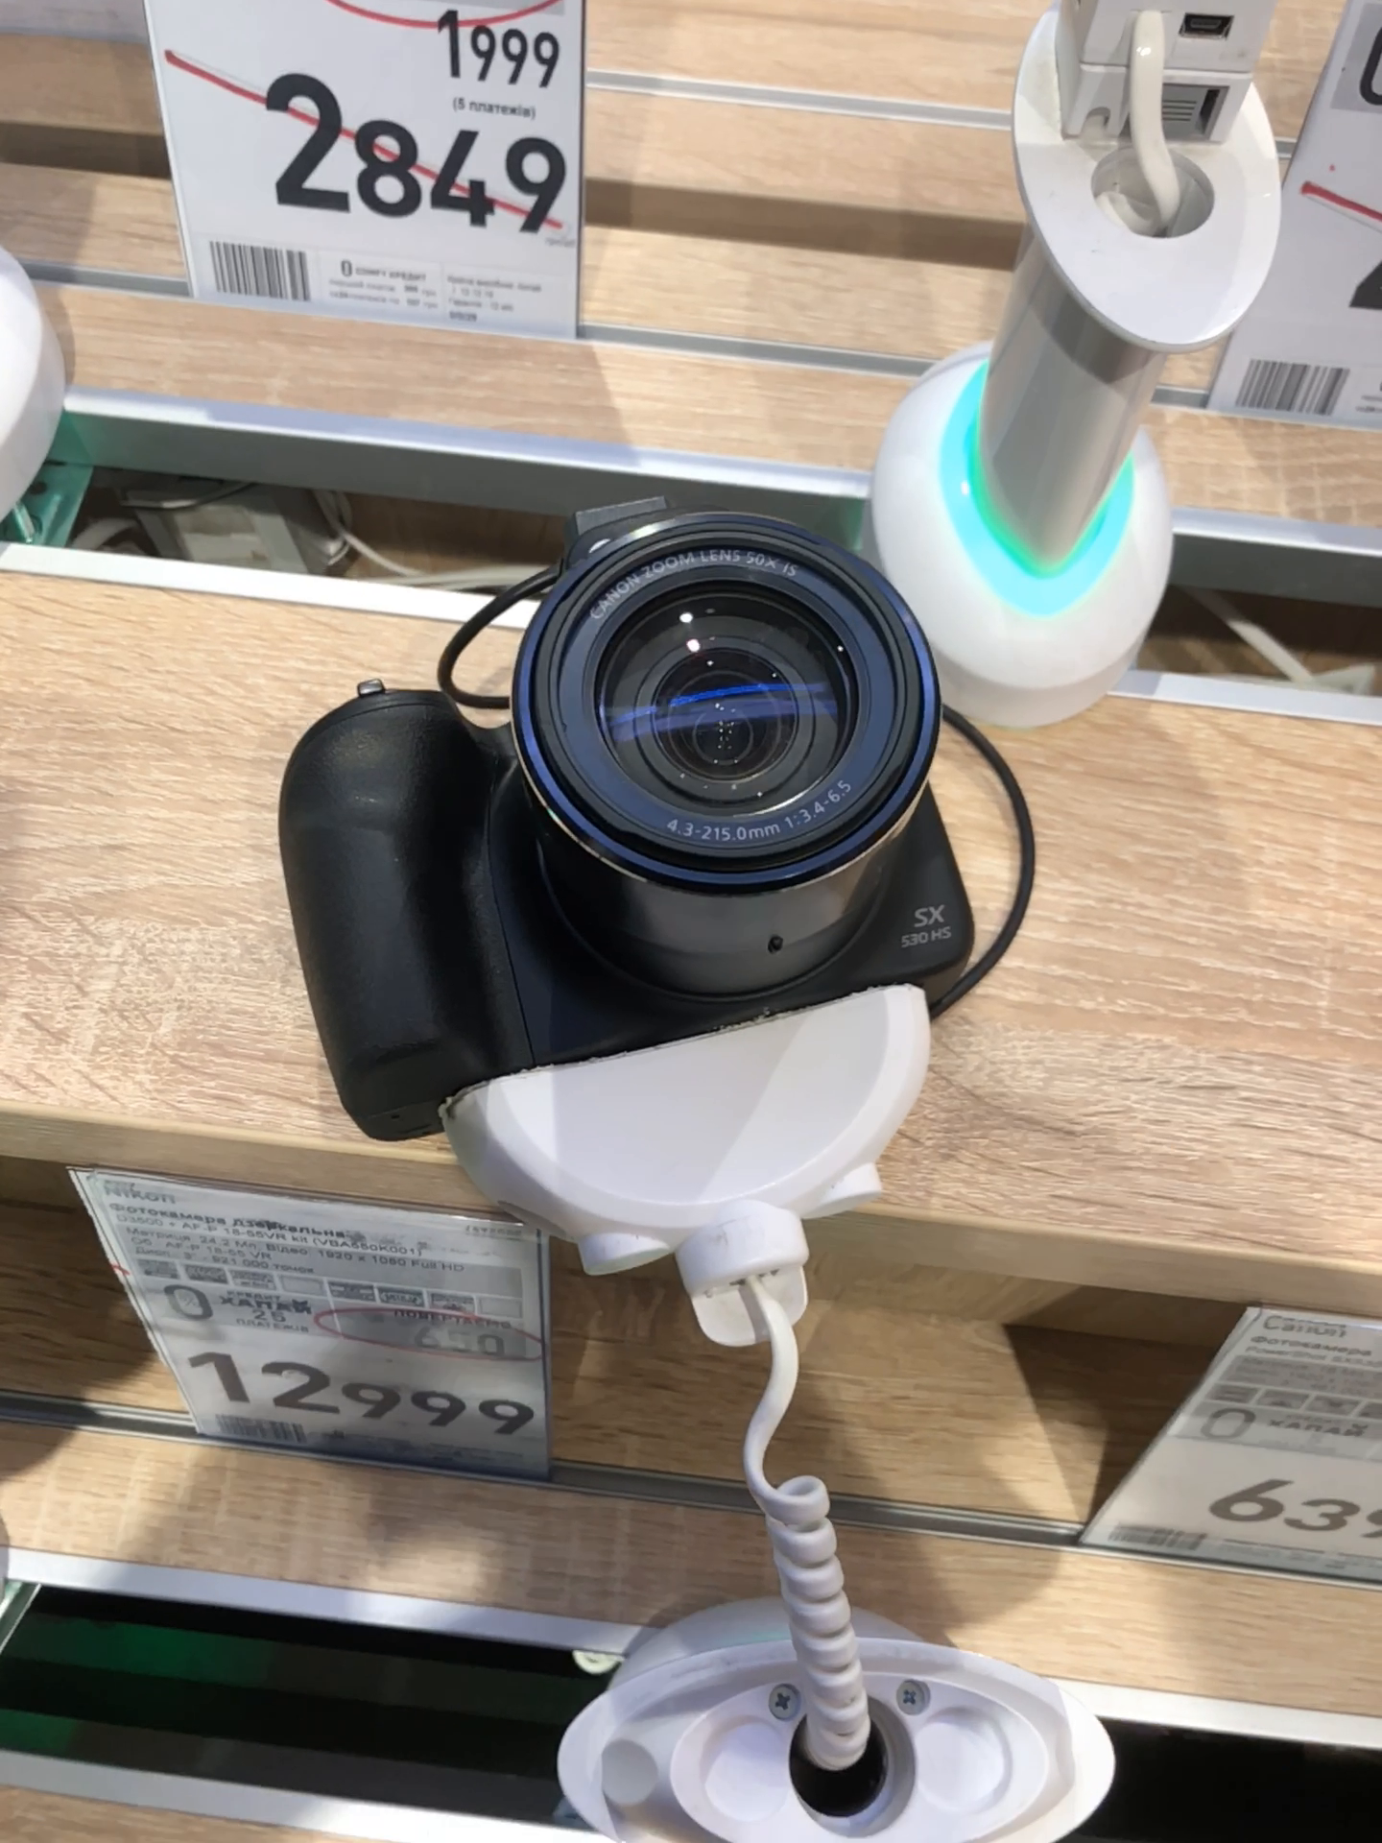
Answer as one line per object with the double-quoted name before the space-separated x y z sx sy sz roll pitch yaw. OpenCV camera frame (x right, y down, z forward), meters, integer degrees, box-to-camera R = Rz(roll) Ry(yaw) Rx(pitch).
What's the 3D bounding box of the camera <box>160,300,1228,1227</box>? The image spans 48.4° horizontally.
"camera" -0.005 -0.023 0.268 0.133 0.091 0.107 -13 72 -8
